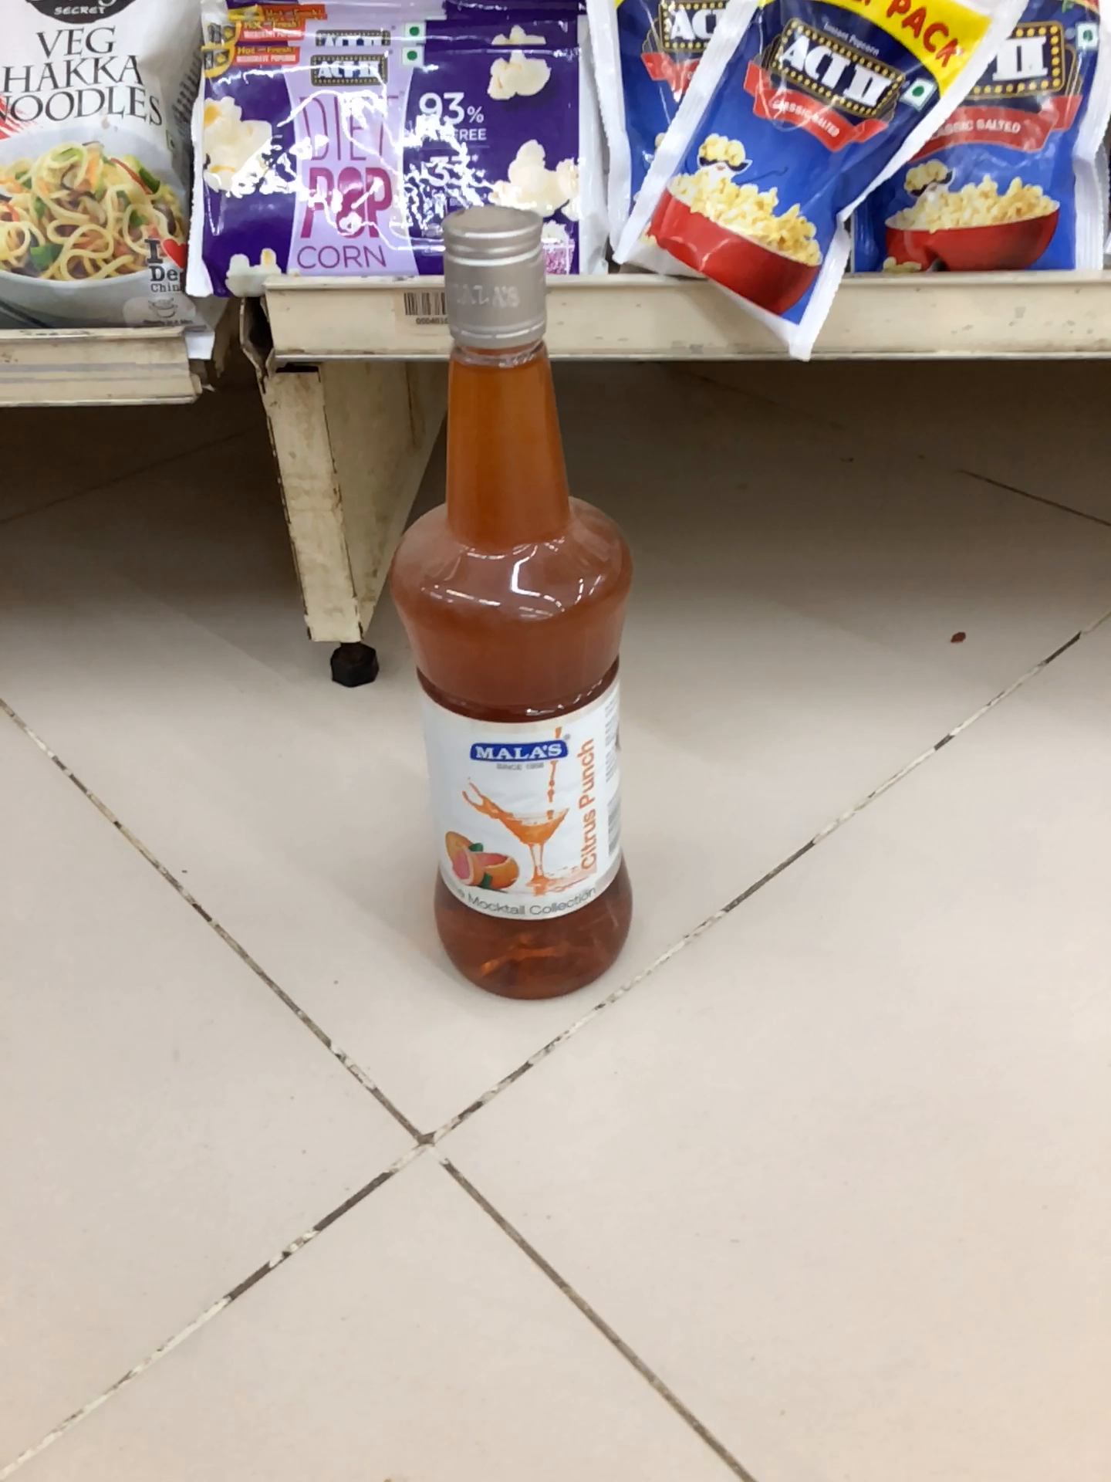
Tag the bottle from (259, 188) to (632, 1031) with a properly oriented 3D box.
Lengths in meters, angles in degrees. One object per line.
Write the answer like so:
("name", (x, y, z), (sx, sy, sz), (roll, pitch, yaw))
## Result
("bottle", (-0.021, -0.027, 0.431), (0.090, 0.288, 0.091), (-2, 38, 2))
